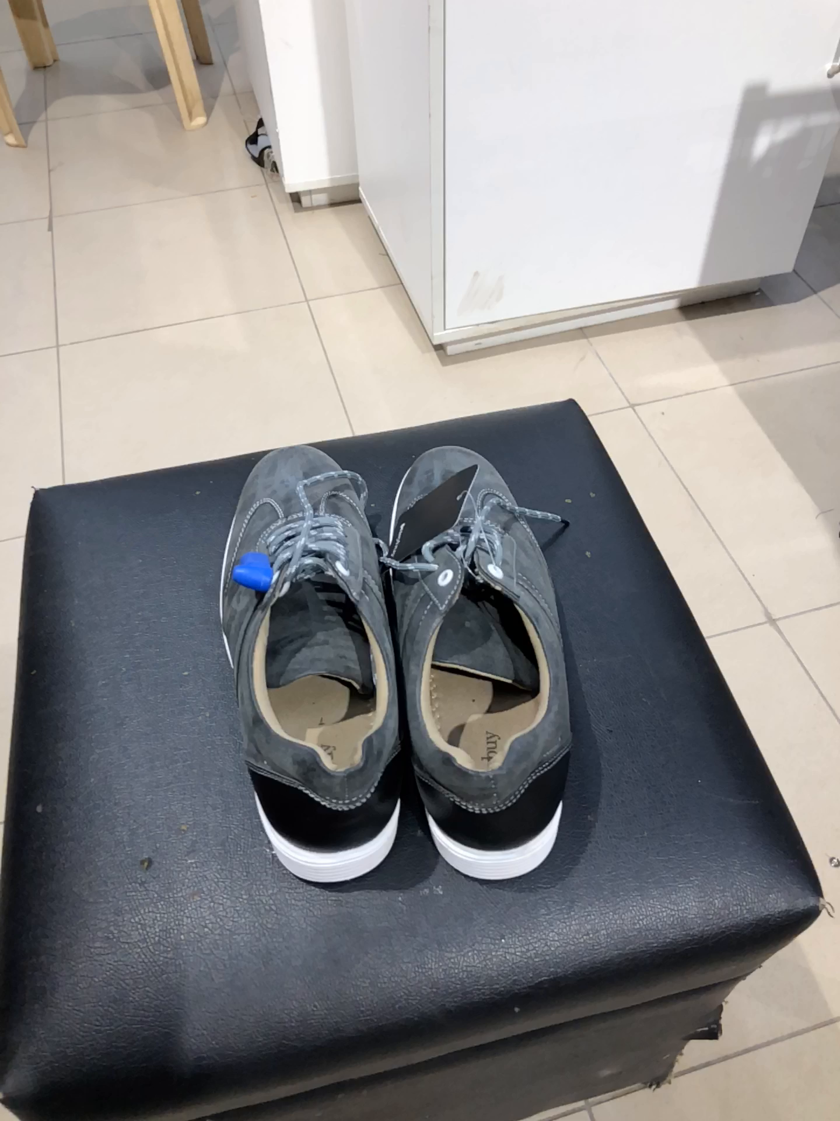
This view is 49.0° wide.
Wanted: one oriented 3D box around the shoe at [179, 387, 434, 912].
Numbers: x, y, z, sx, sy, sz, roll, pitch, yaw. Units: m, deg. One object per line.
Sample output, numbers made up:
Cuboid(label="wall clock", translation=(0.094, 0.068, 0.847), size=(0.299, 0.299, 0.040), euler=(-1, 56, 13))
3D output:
Cuboid(label="shoe", translation=(-0.065, 0.035, 0.491), size=(0.100, 0.107, 0.250), euler=(-8, 50, -5))

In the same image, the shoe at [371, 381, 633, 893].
Cuboid(label="shoe", translation=(0.030, 0.029, 0.489), size=(0.100, 0.107, 0.250), euler=(-3, 50, -1))
